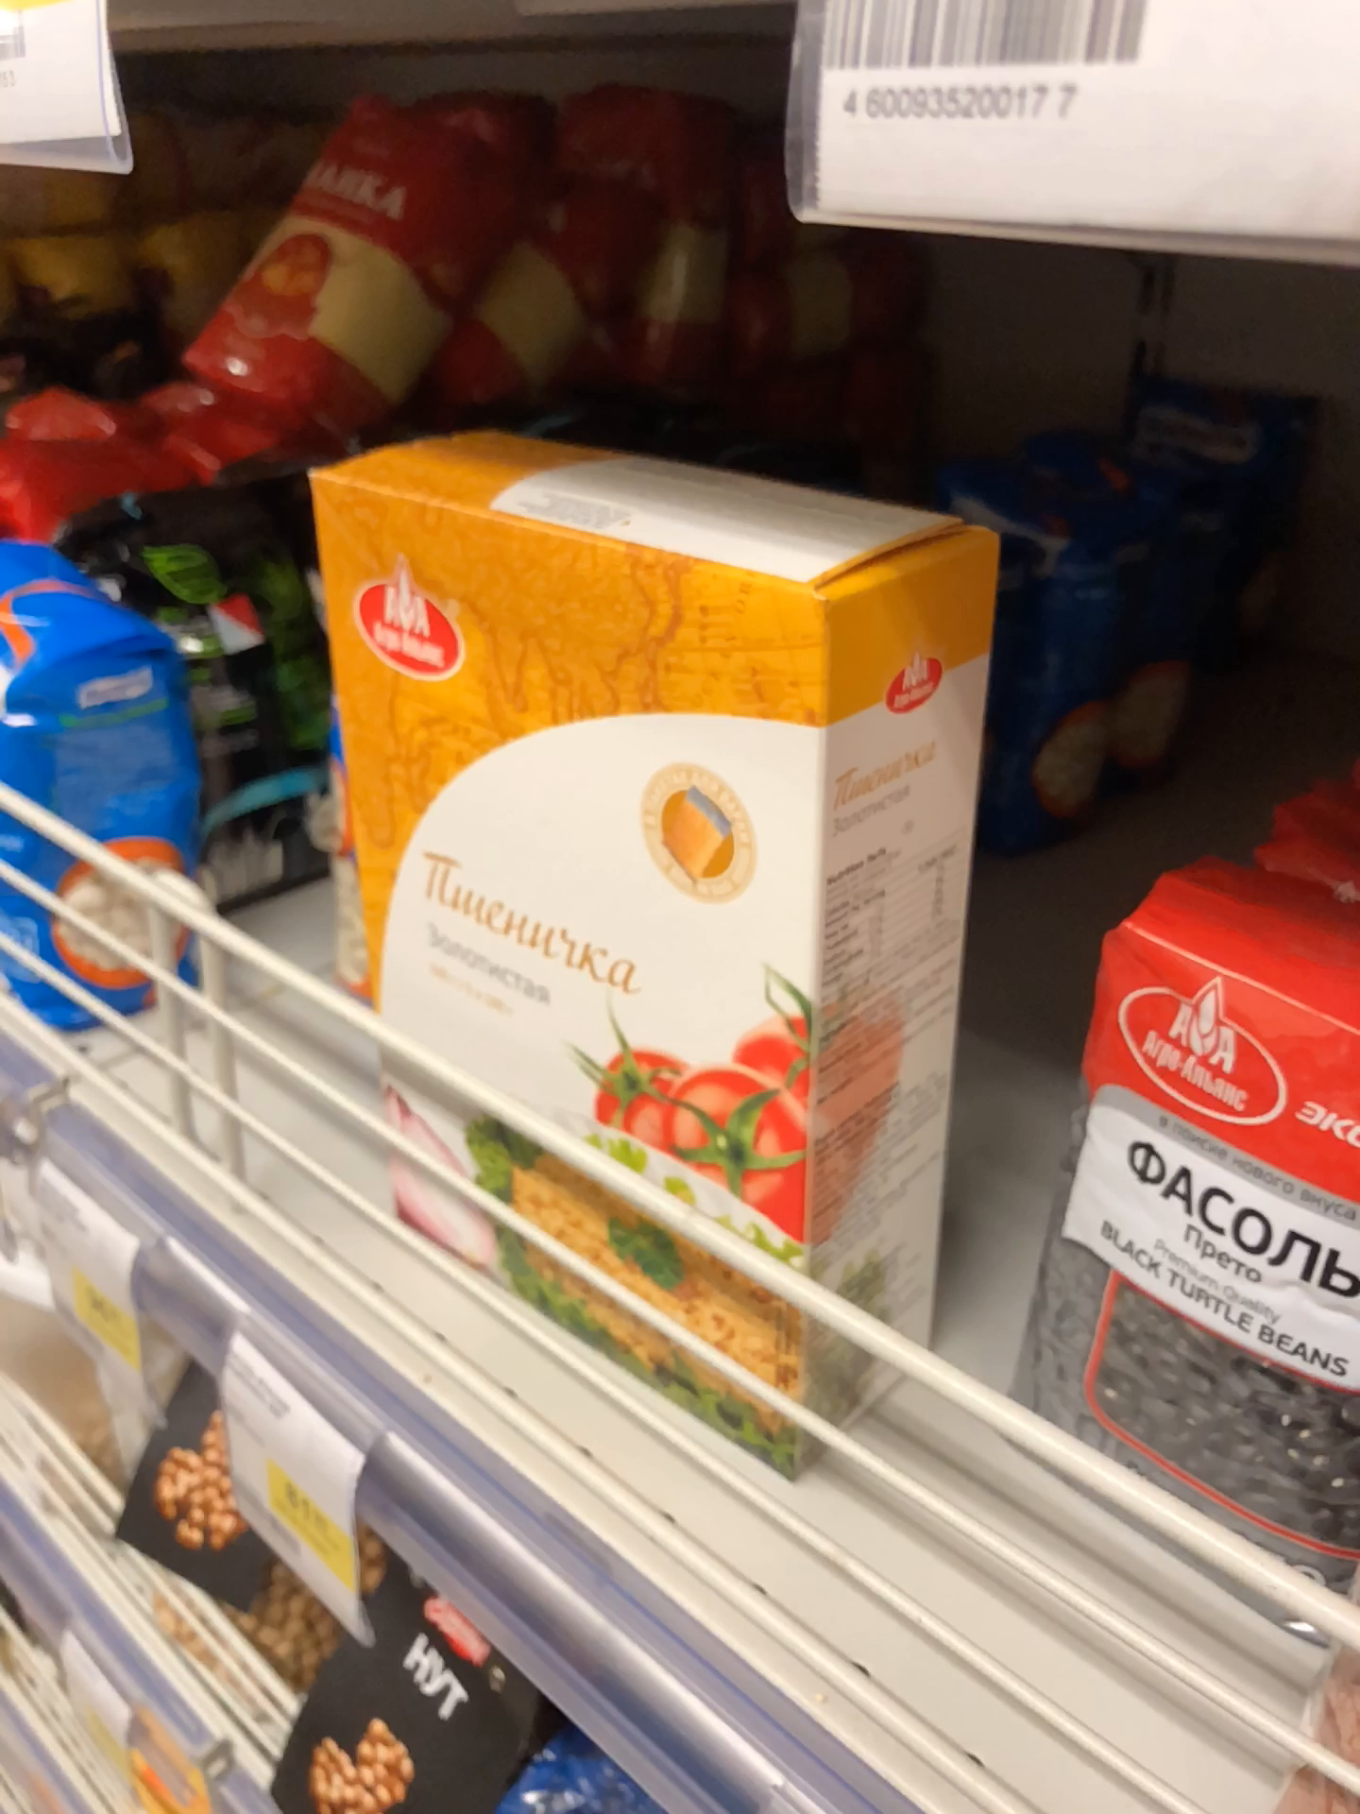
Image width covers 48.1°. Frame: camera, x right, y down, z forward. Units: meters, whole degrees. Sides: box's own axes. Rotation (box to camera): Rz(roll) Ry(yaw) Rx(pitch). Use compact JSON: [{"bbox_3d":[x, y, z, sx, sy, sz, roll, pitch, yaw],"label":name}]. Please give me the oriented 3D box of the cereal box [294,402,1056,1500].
[{"bbox_3d":[-0.005,0.004,0.335,0.140,0.199,0.060,21,35,36],"label":"cereal box"}]
